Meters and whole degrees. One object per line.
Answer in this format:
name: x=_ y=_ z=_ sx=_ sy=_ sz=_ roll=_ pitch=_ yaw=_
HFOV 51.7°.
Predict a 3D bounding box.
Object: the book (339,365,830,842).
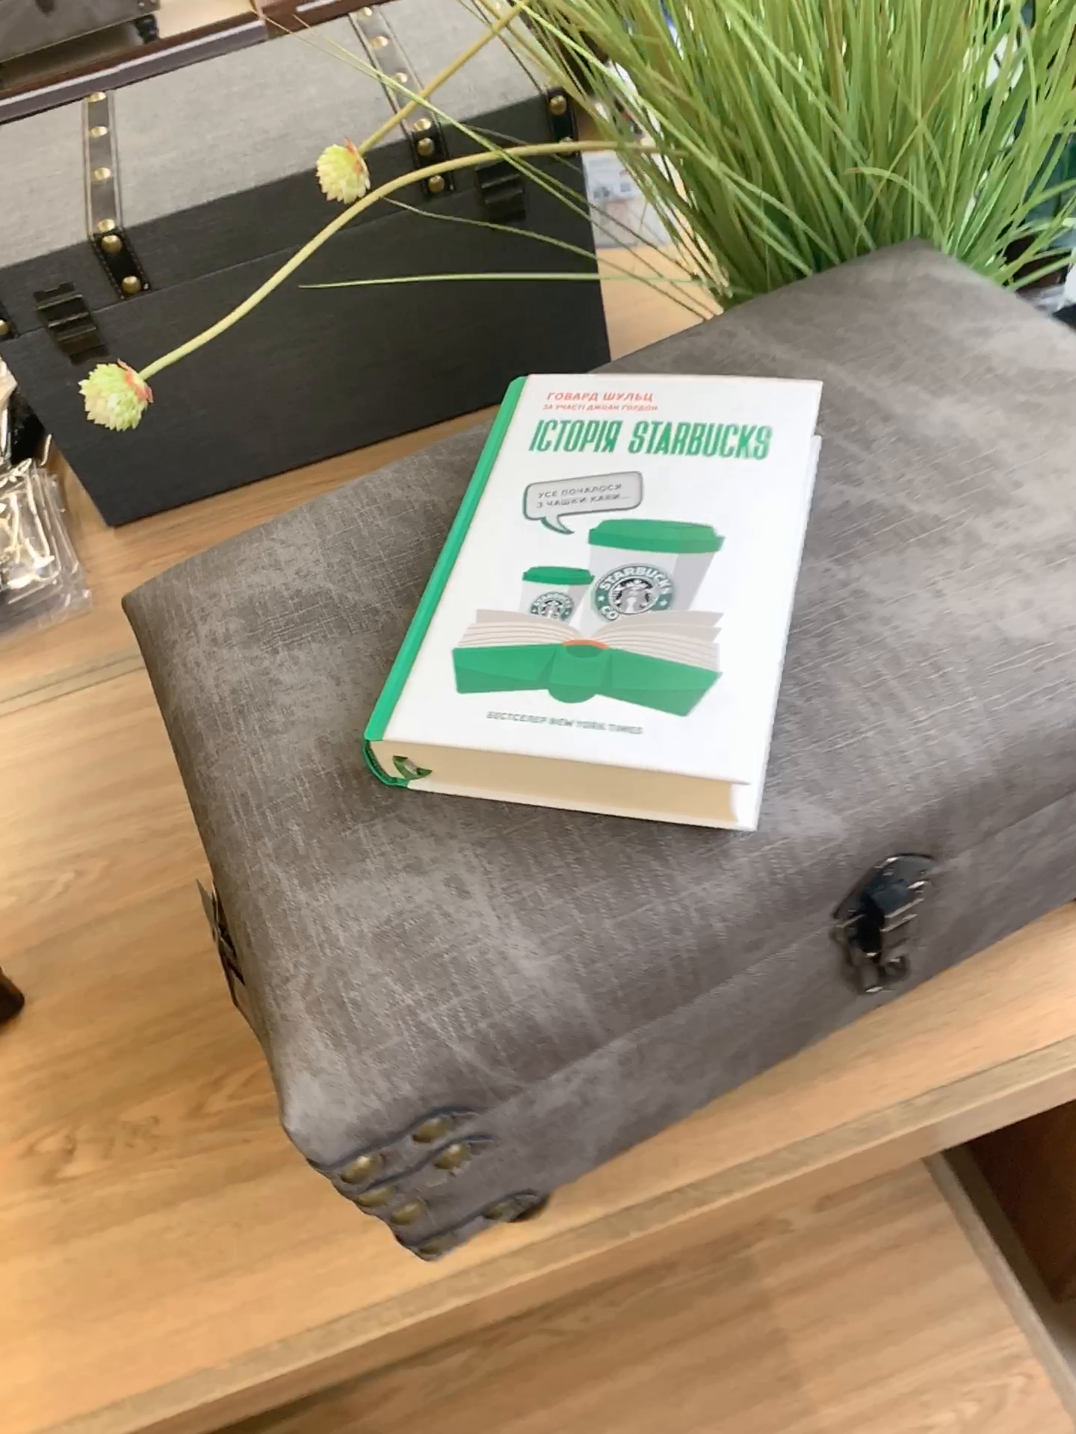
book: x=0.033 y=-0.066 z=0.484 sx=0.160 sy=0.040 sz=0.235 roll=6 pitch=53 yaw=17
